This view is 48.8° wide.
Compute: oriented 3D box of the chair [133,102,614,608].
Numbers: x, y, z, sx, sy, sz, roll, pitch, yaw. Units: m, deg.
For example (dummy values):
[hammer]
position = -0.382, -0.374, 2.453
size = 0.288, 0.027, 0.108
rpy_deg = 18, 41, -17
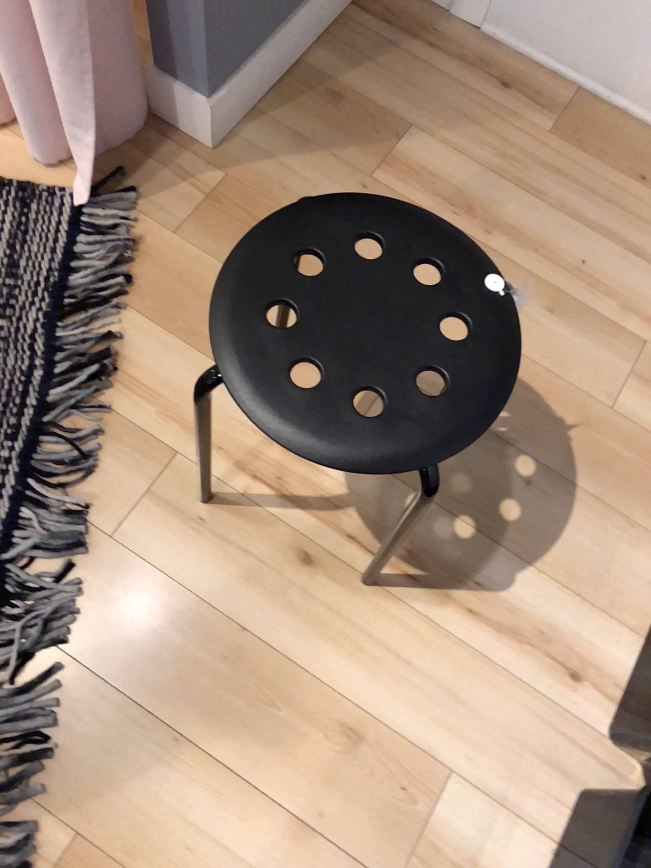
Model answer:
[chair]
position = 0.046, -0.063, 0.909
size = 0.370, 0.400, 0.380
rpy_deg = 26, 68, 3
